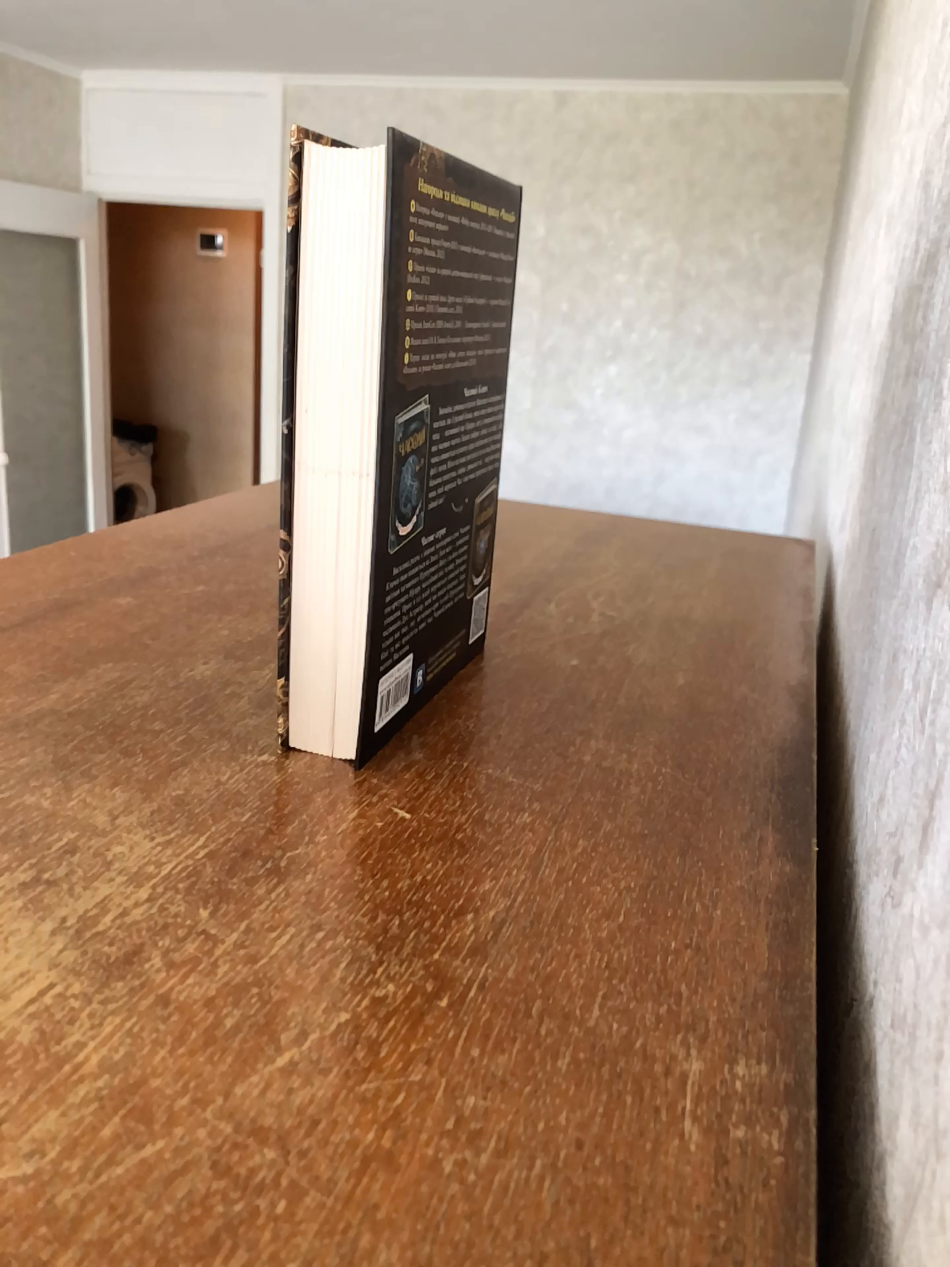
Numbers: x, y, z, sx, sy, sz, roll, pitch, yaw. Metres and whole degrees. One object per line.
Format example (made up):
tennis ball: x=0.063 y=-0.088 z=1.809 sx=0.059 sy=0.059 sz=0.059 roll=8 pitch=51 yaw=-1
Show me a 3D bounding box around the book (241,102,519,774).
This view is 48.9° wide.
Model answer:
book: x=-0.035 y=-0.081 z=0.442 sx=0.041 sy=0.228 sz=0.167 roll=10 pitch=17 yaw=16
